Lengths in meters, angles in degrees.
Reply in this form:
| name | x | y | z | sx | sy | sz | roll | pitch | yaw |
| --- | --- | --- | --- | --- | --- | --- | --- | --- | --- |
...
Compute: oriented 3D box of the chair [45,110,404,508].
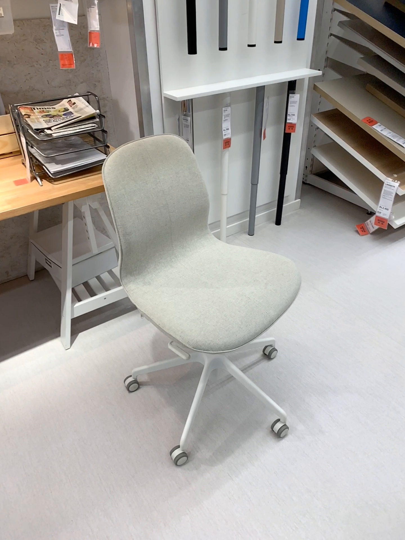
| name | x | y | z | sx | sy | sz | roll | pitch | yaw |
| --- | --- | --- | --- | --- | --- | --- | --- | --- | --- |
| chair | 0.051 | 0.059 | 1.322 | 0.661 | 0.866 | 0.662 | -27 | 42 | -32 |
